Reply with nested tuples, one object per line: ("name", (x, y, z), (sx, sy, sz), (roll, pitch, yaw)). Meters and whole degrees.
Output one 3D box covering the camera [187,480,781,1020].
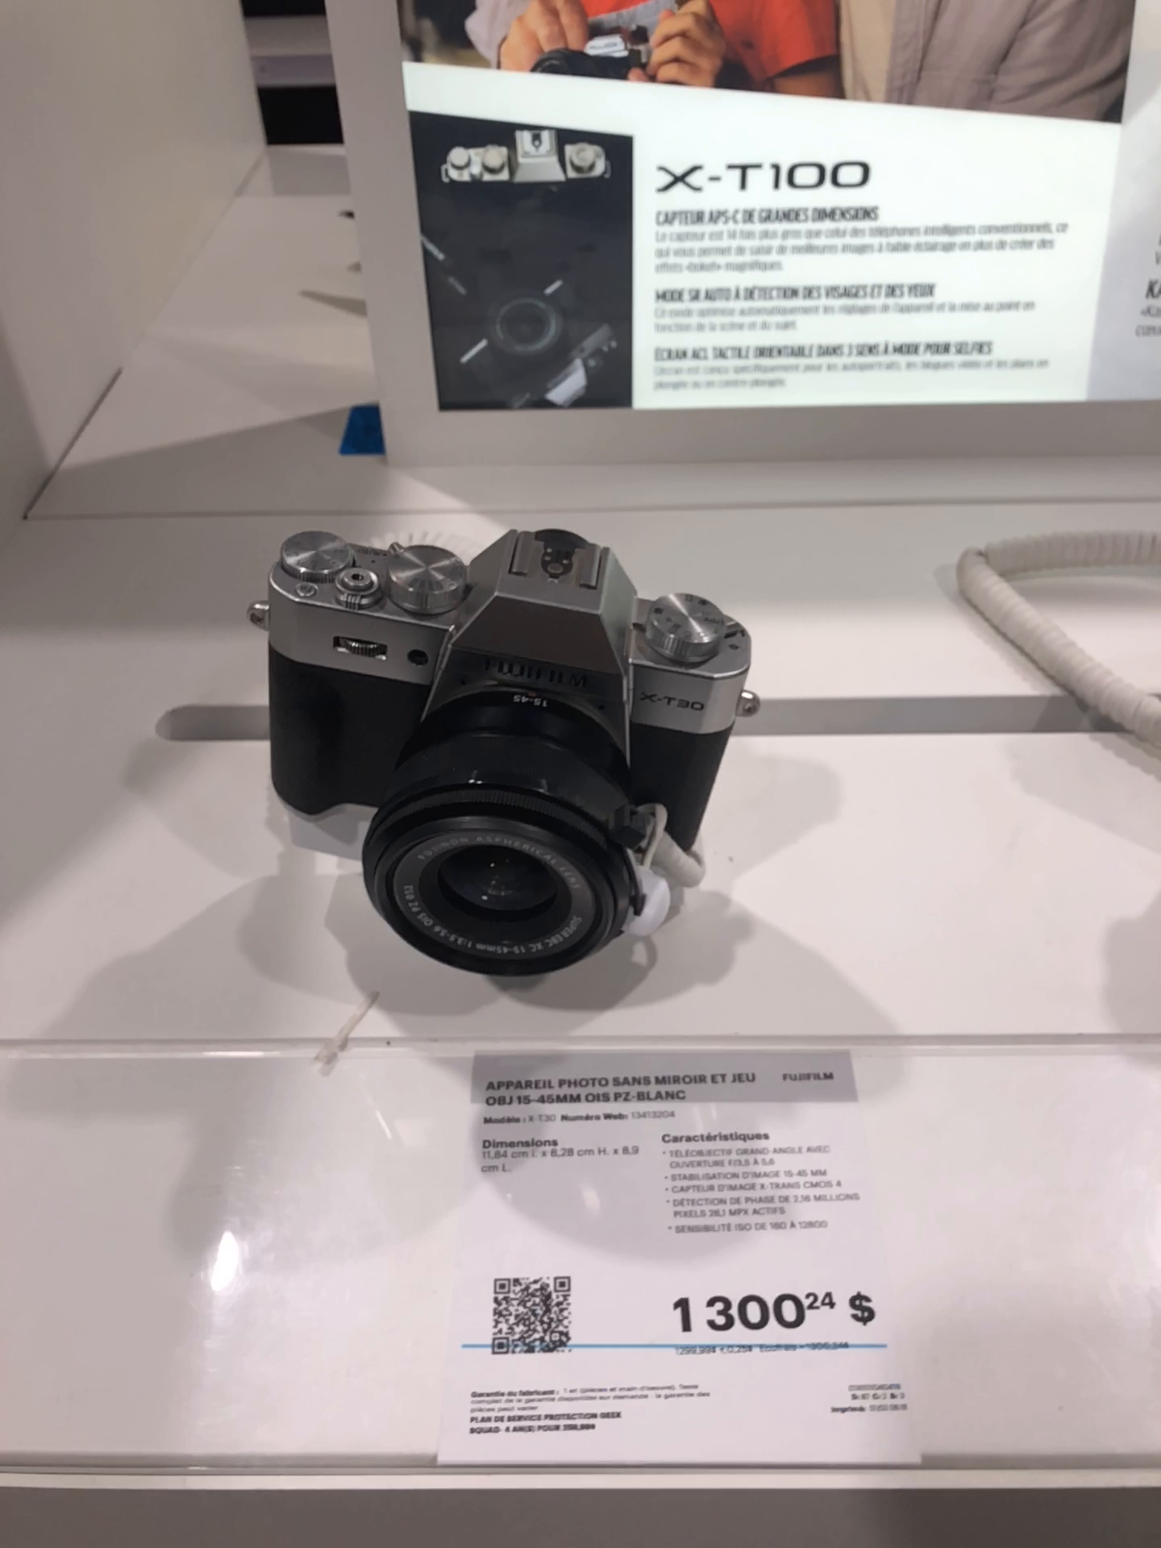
("camera", (-0.020, -0.008, 0.344), (0.130, 0.089, 0.091), (8, 41, 3))
